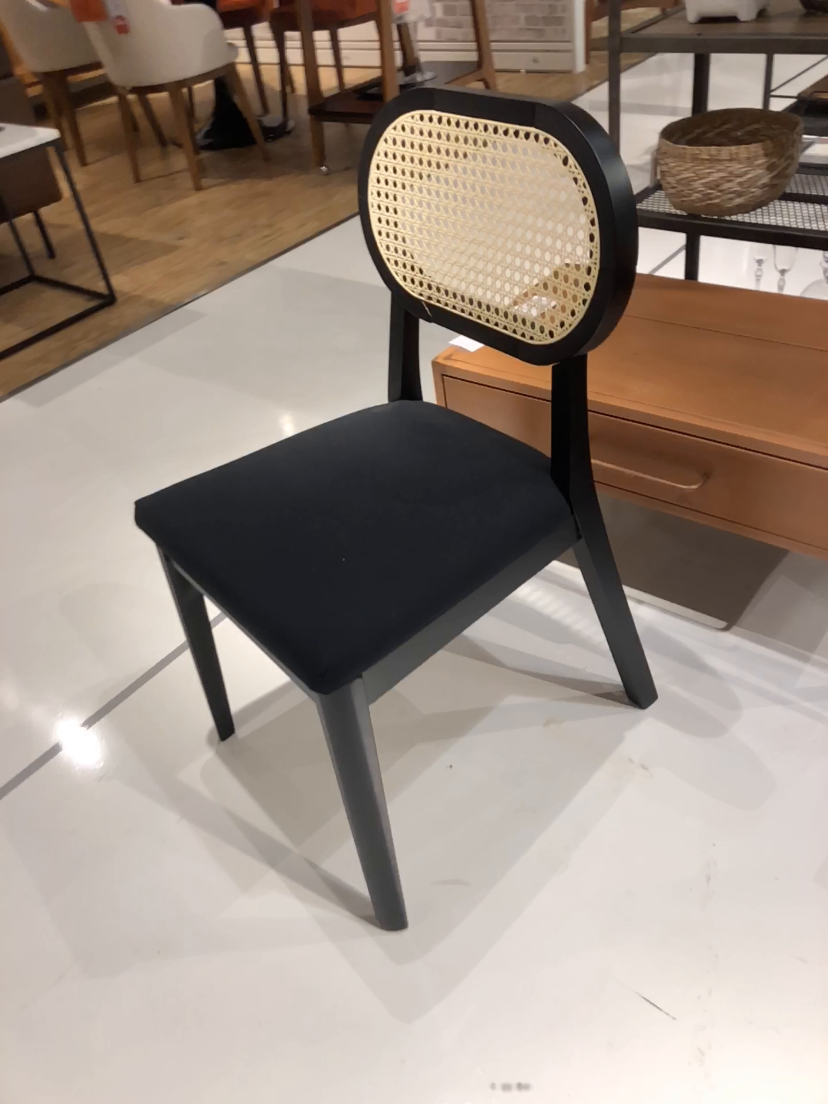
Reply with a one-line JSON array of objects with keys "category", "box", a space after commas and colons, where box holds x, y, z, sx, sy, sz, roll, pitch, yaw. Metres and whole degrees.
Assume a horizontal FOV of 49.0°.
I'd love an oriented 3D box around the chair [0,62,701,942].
[{"category": "chair", "box": [-0.046, -0.080, 1.123, 0.542, 0.804, 0.502, -33, 44, -27]}]
